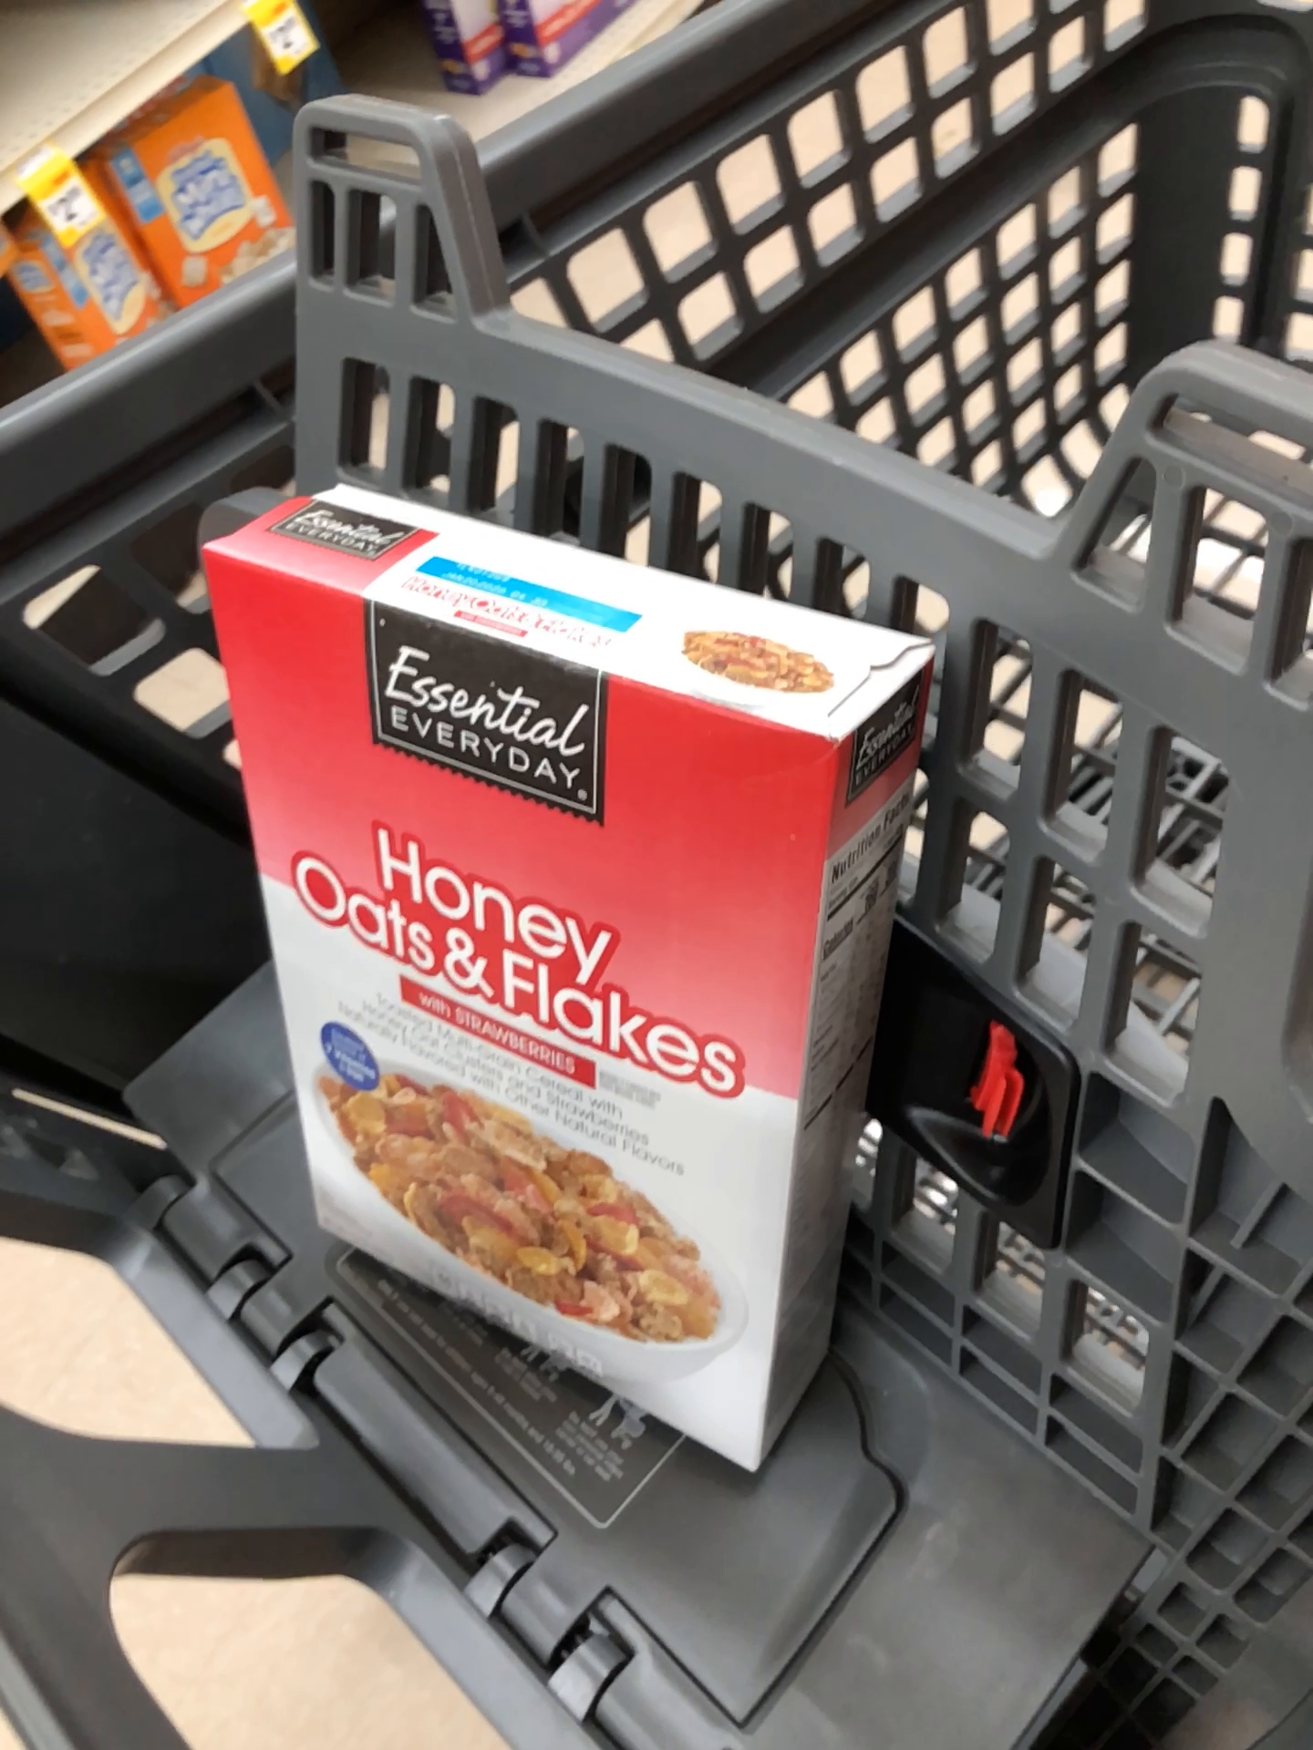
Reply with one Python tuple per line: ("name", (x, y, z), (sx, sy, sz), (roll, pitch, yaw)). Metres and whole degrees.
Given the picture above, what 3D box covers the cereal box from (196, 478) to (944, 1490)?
("cereal box", (-0.028, 0.036, 0.428), (0.180, 0.260, 0.060), (20, 38, 25))
